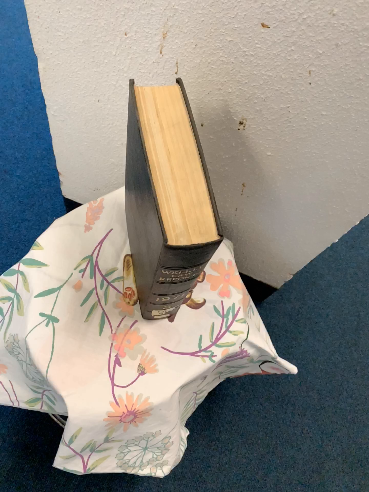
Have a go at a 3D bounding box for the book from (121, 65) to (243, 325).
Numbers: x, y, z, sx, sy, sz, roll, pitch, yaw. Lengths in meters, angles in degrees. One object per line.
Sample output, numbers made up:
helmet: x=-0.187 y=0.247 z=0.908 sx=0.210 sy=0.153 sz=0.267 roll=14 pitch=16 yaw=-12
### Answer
book: x=-0.024 y=-0.029 z=0.397 sx=0.052 sy=0.245 sz=0.162 roll=-8 pitch=67 yaw=-15
